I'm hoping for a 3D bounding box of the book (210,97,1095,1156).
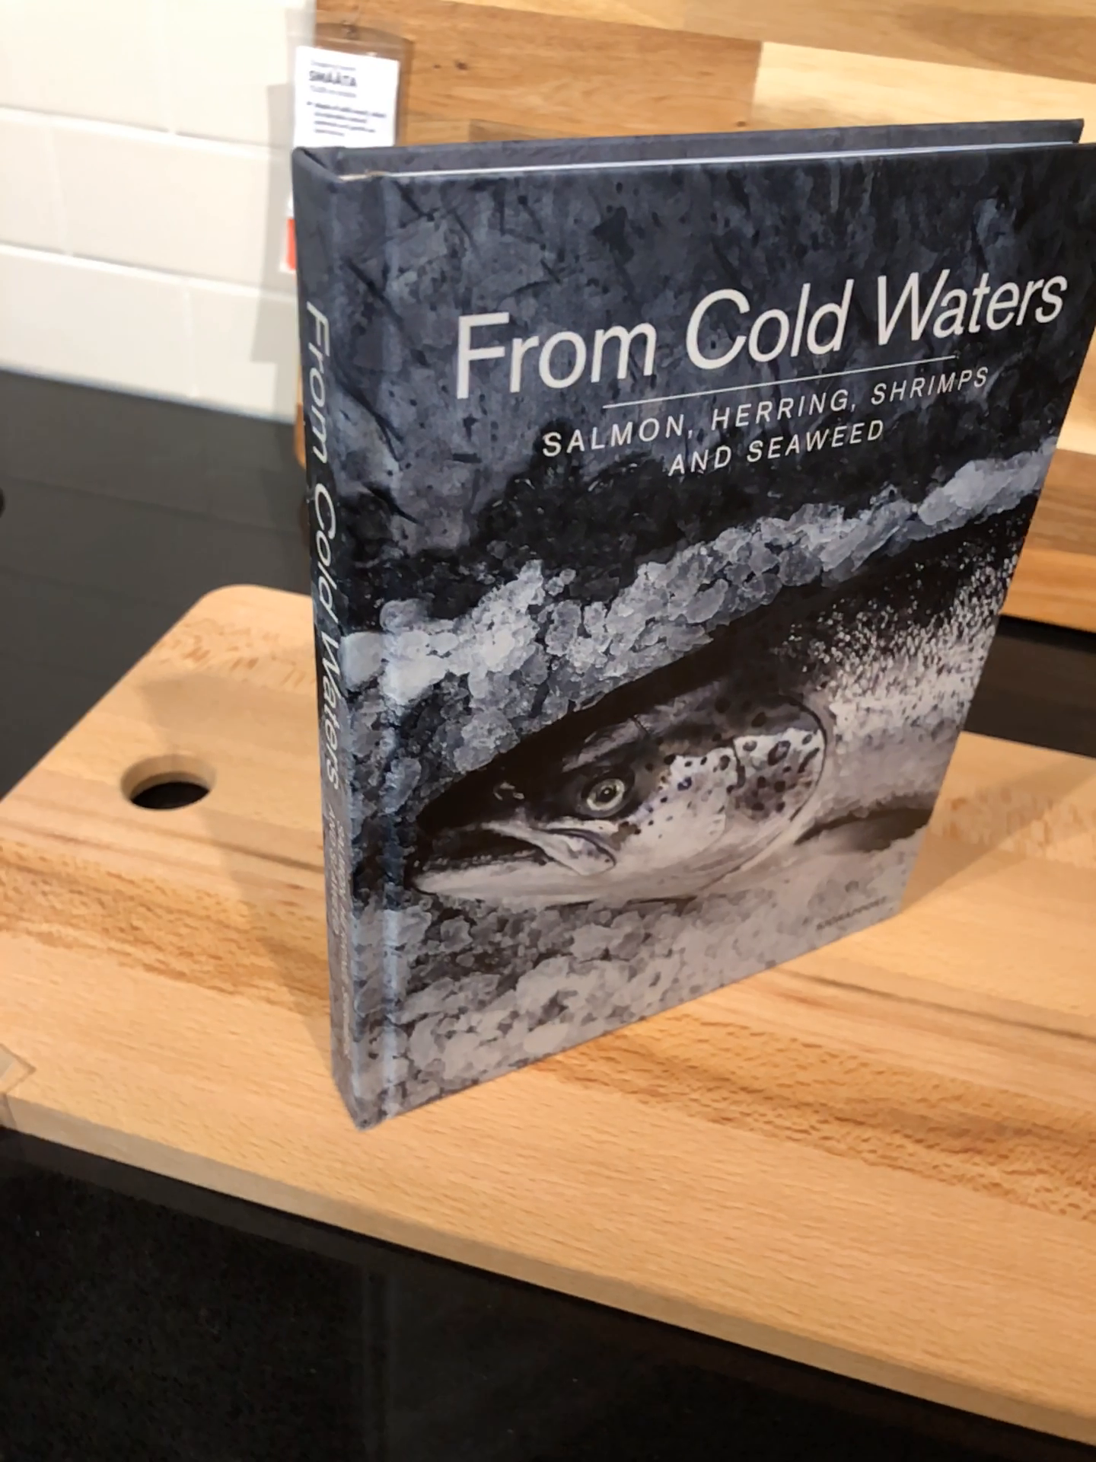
[{"bbox_3d":[0.041,-0.021,0.285,0.213,0.219,0.029,-15,40,-26],"label":"book"}]
